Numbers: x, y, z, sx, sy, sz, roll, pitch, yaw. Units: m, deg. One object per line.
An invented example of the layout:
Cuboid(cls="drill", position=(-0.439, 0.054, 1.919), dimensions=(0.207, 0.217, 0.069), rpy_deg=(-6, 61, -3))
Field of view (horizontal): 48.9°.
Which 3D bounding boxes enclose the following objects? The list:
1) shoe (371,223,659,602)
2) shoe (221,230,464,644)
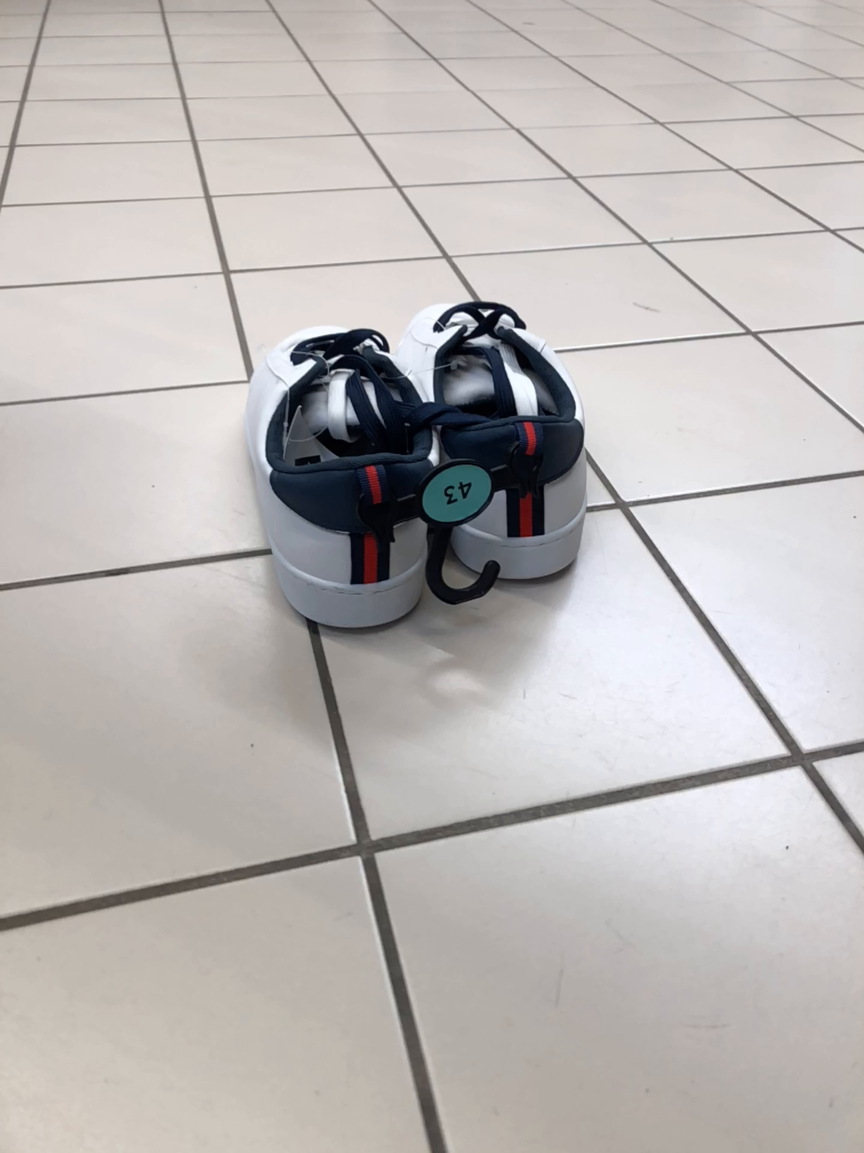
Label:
Cuboid(cls="shoe", position=(0.033, -0.121, 0.599), dimensions=(0.100, 0.099, 0.291), rpy_deg=(-6, 40, -10))
Cuboid(cls="shoe", position=(-0.064, -0.101, 0.559), dimensions=(0.100, 0.099, 0.291), rpy_deg=(-6, 40, -10))
